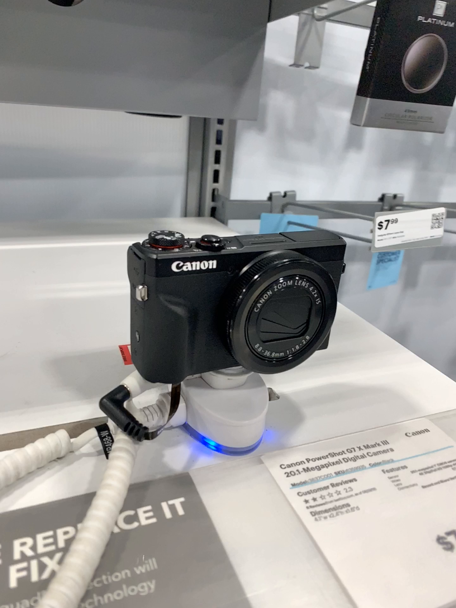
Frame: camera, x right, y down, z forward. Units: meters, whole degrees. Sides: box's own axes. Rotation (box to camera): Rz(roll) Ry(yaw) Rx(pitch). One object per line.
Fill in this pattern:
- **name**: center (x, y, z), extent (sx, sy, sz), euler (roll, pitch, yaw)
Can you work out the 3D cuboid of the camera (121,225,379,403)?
- **camera**: center (0.010, -0.001, 0.223), extent (0.110, 0.062, 0.040), euler (-6, 24, -27)
